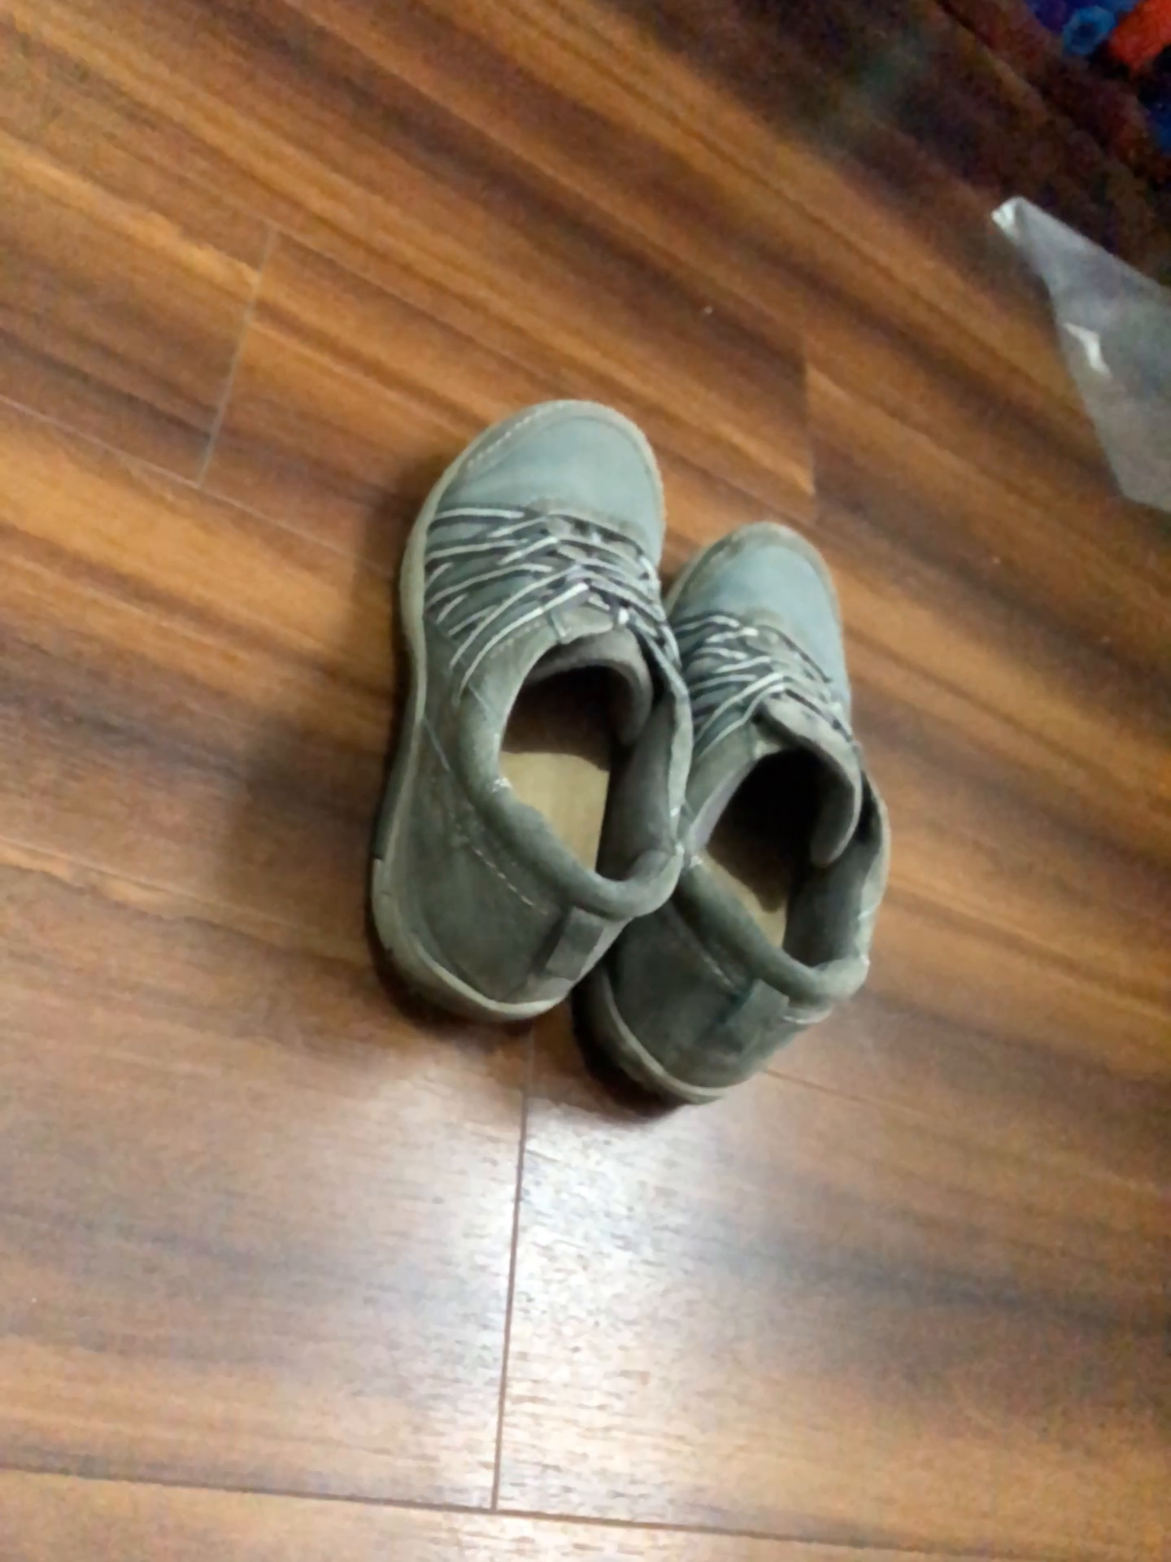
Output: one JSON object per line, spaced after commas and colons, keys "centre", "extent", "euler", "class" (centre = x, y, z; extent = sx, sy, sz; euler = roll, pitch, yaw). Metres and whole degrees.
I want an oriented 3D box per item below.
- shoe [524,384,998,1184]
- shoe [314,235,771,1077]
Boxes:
{"centre": [0.080, -0.008, 0.504], "extent": [0.100, 0.109, 0.282], "euler": [31, 49, -19], "class": "shoe"}
{"centre": [-0.008, -0.051, 0.483], "extent": [0.100, 0.109, 0.281], "euler": [23, 53, -26], "class": "shoe"}
